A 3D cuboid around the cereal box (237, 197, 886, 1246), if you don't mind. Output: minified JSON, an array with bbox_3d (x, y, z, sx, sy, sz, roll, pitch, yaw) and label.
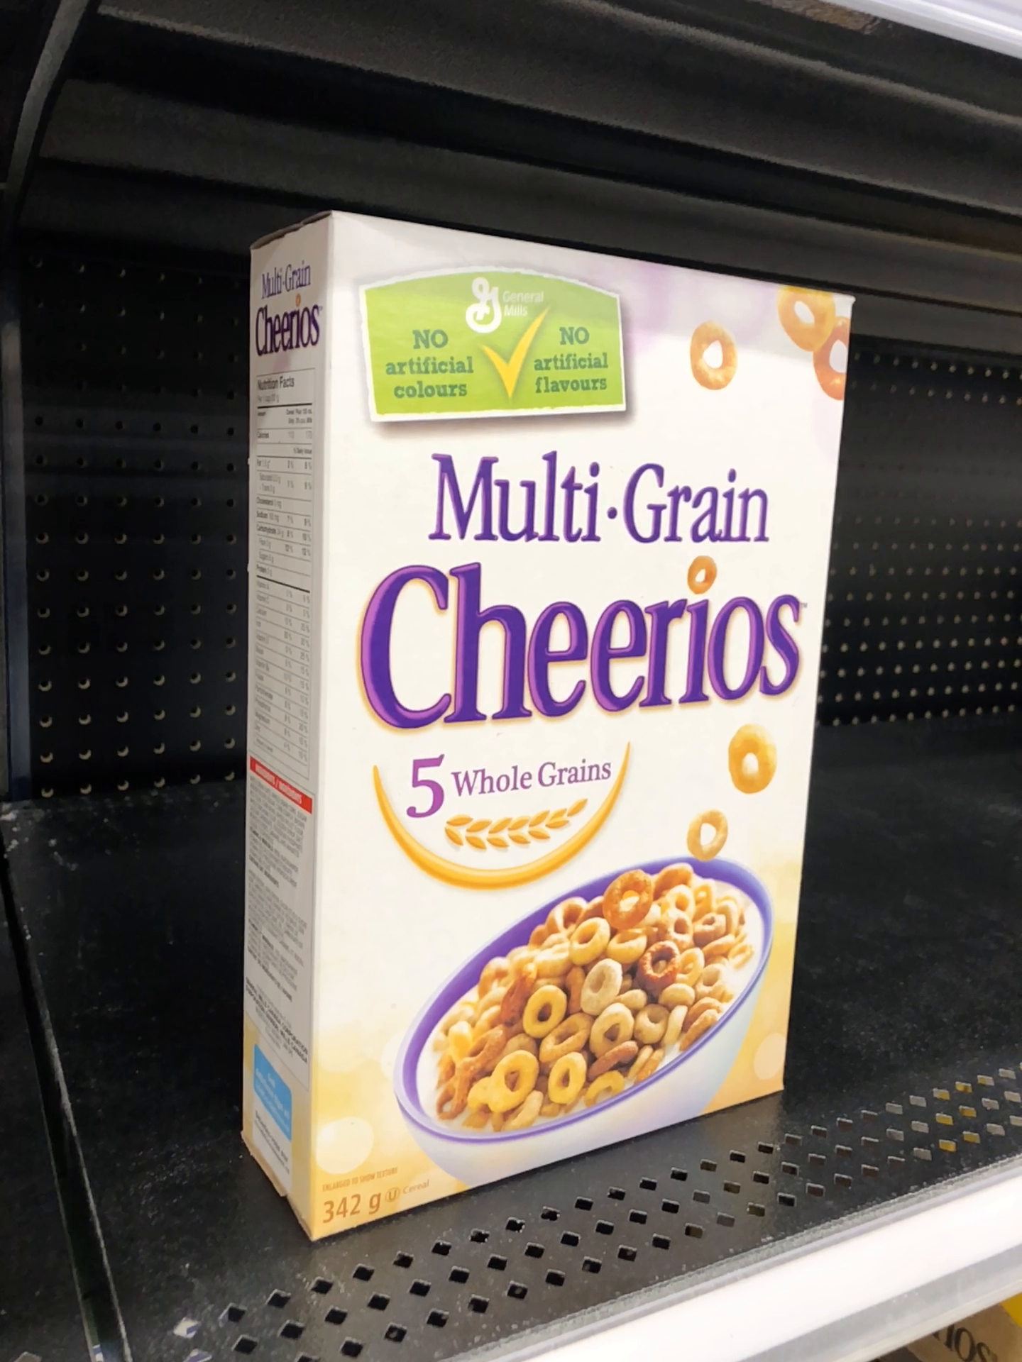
[{"bbox_3d":[0.016,0.010,0.383,0.200,0.289,0.070,-3,11,-30],"label":"cereal box"}]
